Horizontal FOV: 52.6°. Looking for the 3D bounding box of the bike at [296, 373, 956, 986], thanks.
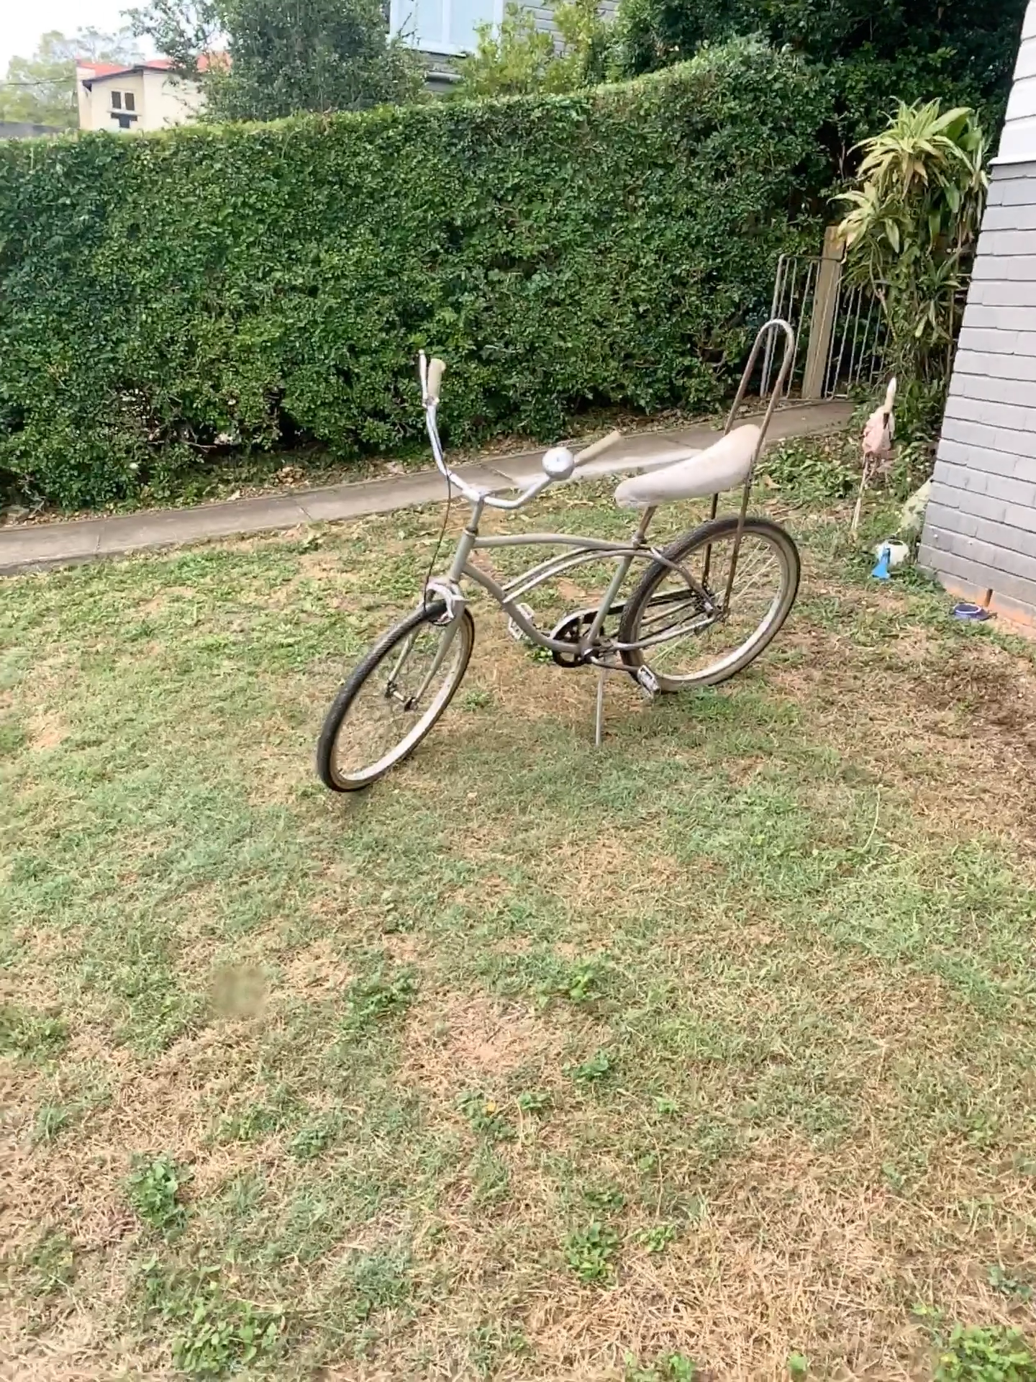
[{"bbox_3d":[0.255,-0.173,2.958,1.601,0.991,0.803,-17,27,-25],"label":"bike"}]
